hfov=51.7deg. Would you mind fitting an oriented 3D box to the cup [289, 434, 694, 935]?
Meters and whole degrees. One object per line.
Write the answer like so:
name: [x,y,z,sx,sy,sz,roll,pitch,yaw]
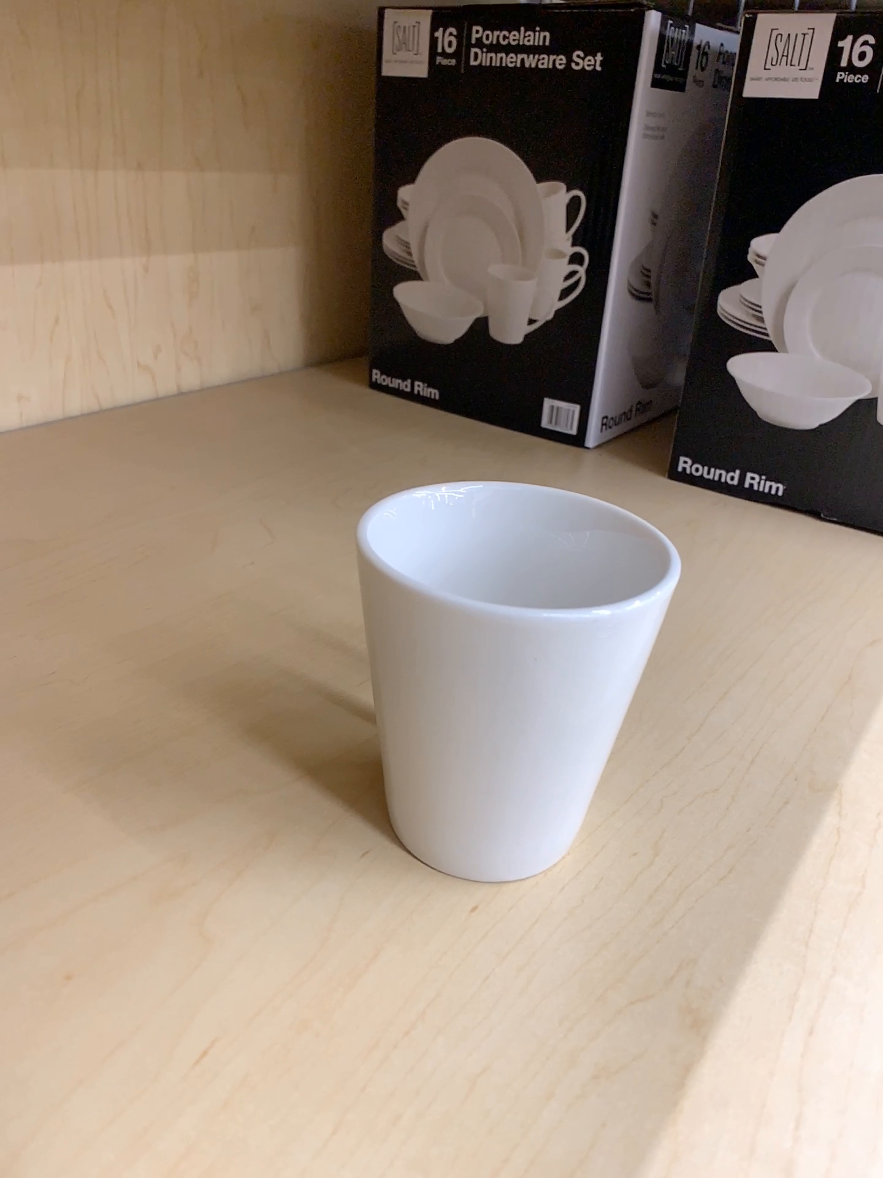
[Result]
cup: [0.020,0.019,0.295,0.093,0.090,0.129,12,27,6]
